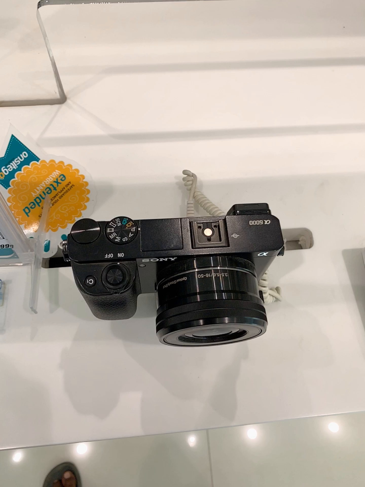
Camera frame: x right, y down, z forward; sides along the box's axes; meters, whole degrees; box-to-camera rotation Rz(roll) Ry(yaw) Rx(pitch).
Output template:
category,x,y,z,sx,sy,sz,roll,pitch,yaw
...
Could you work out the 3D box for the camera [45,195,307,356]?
category,x,y,z,sx,sy,sz,roll,pitch,yaw
camera,-0.005,0.019,0.190,0.104,0.063,0.058,-3,67,-4
